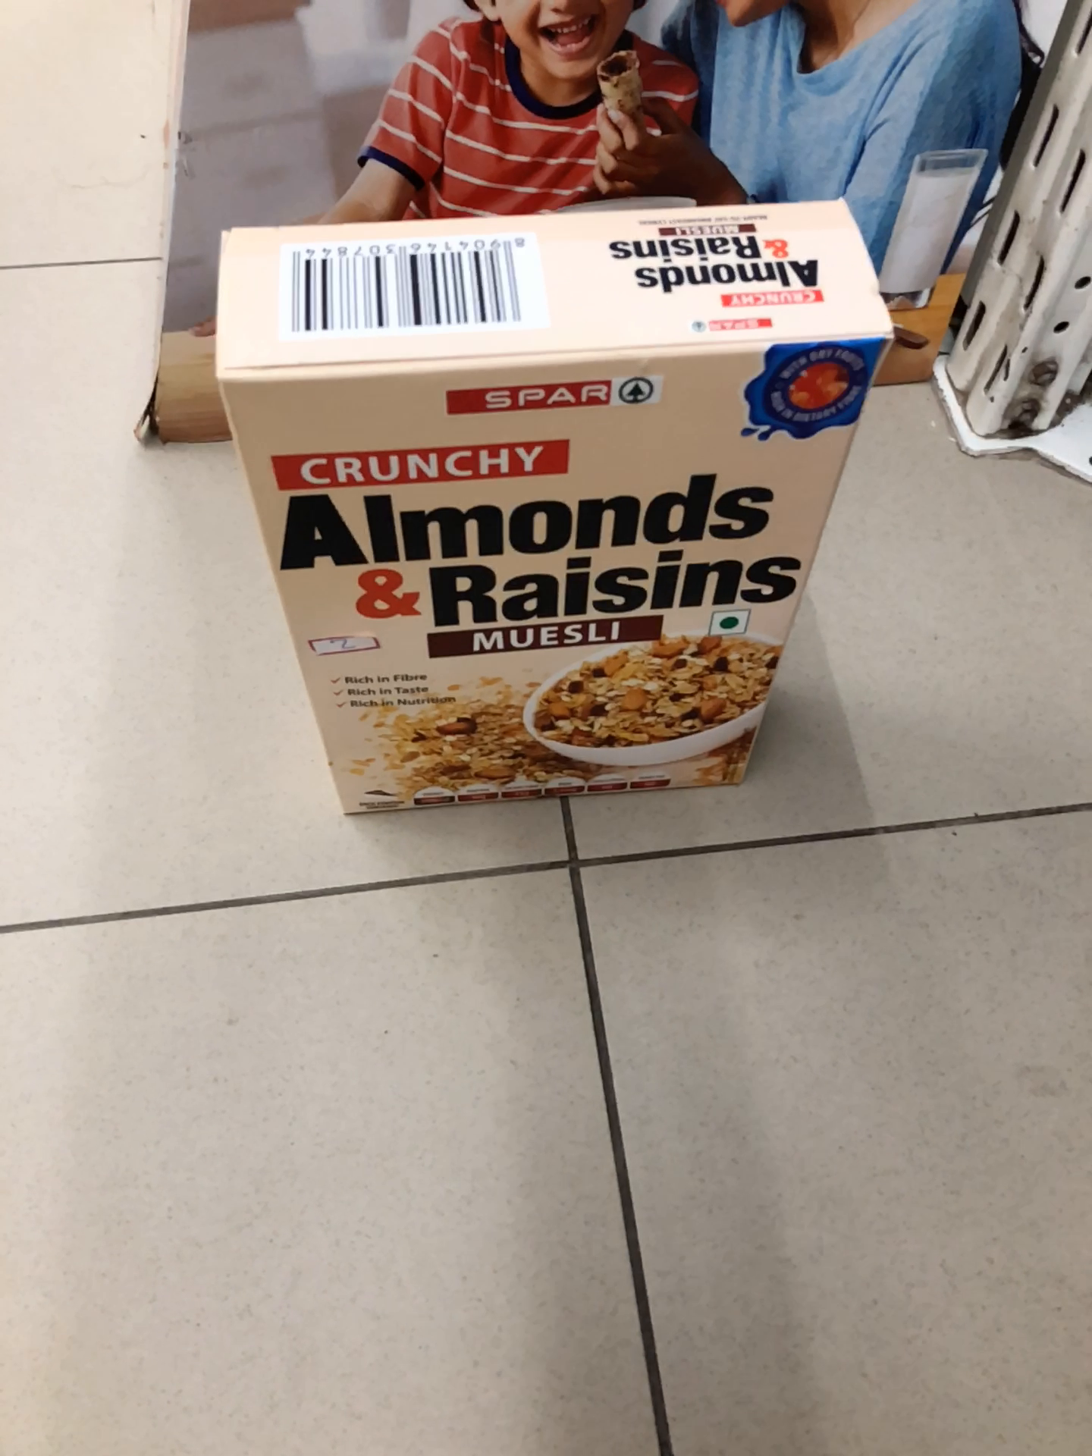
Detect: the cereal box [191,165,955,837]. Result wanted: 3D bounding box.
[{"bbox_3d":[0.004,-0.053,0.397,0.180,0.239,0.060,-5,58,-4],"label":"cereal box"}]
